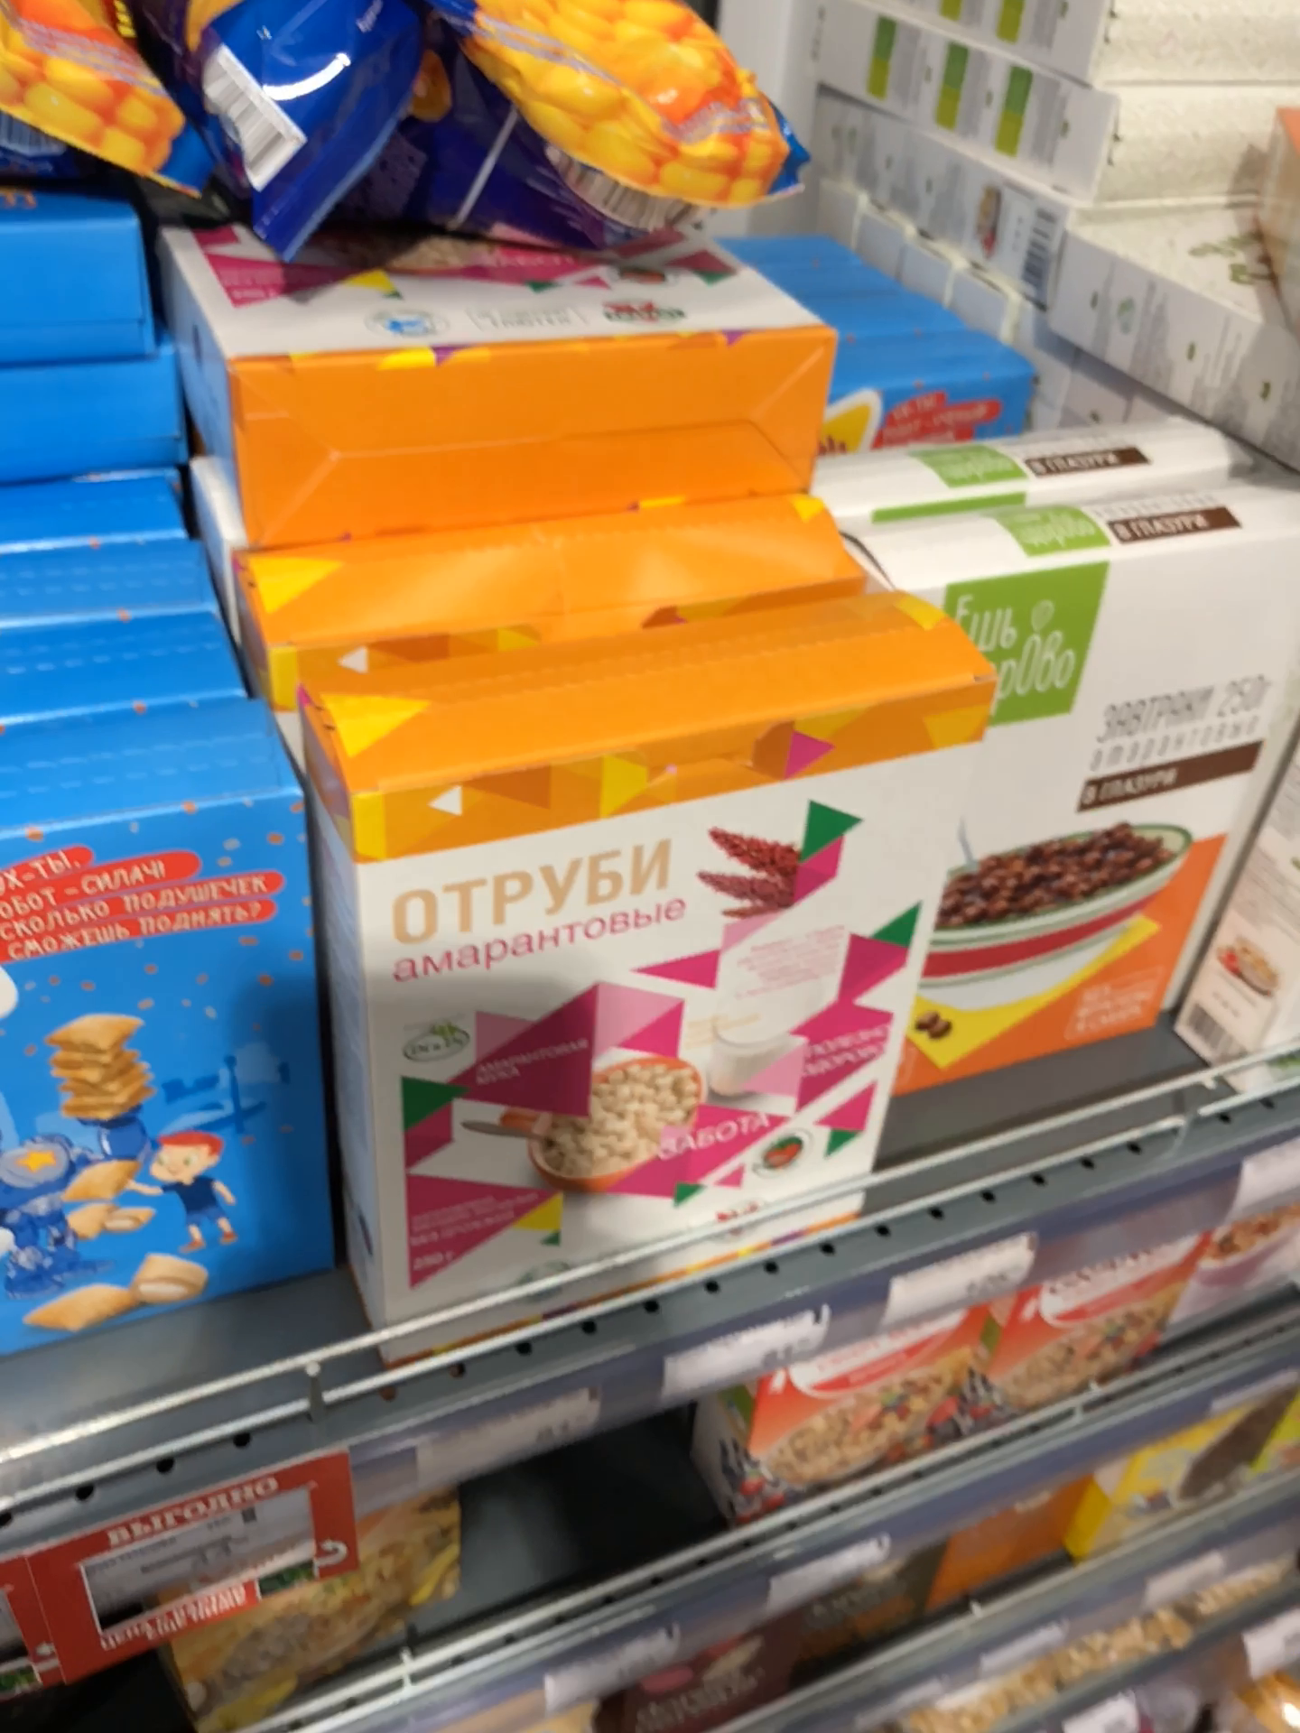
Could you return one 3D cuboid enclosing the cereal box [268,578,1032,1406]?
[{"bbox_3d":[-0.006,0.048,0.473,0.200,0.258,0.060,-12,42,-21],"label":"cereal box"}]
